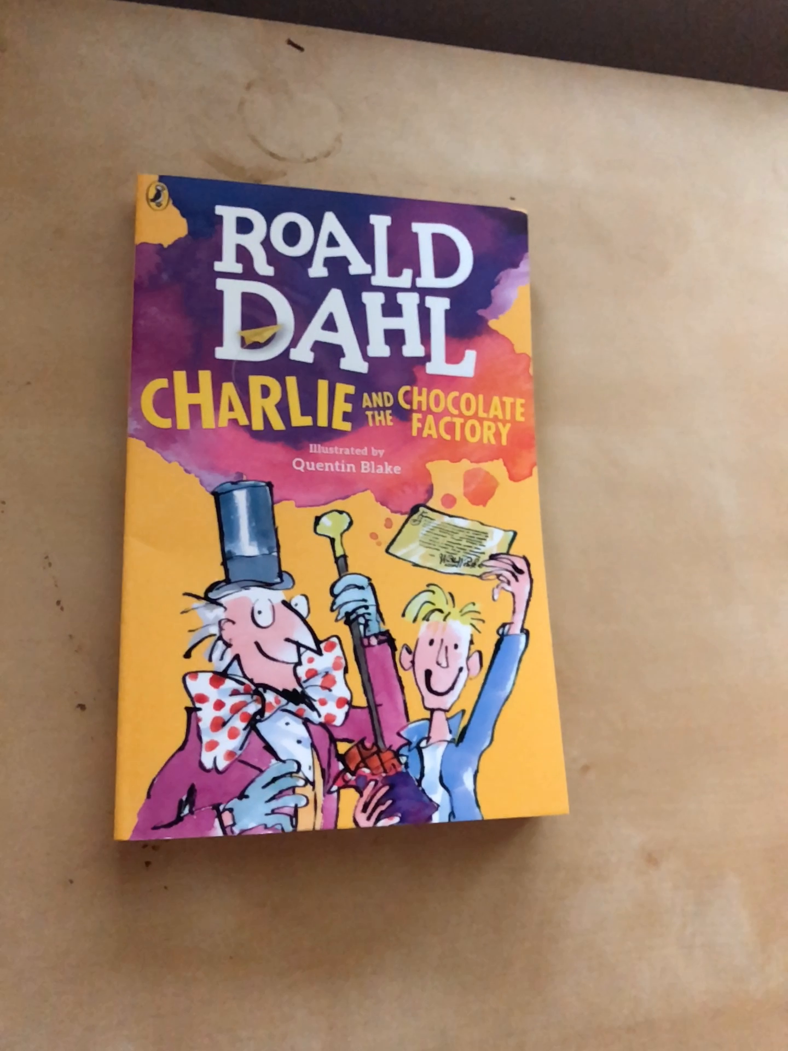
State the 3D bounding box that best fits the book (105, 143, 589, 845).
[{"bbox_3d":[-0.017,-0.012,0.278,0.134,0.040,0.201,1,78,-14],"label":"book"}]
